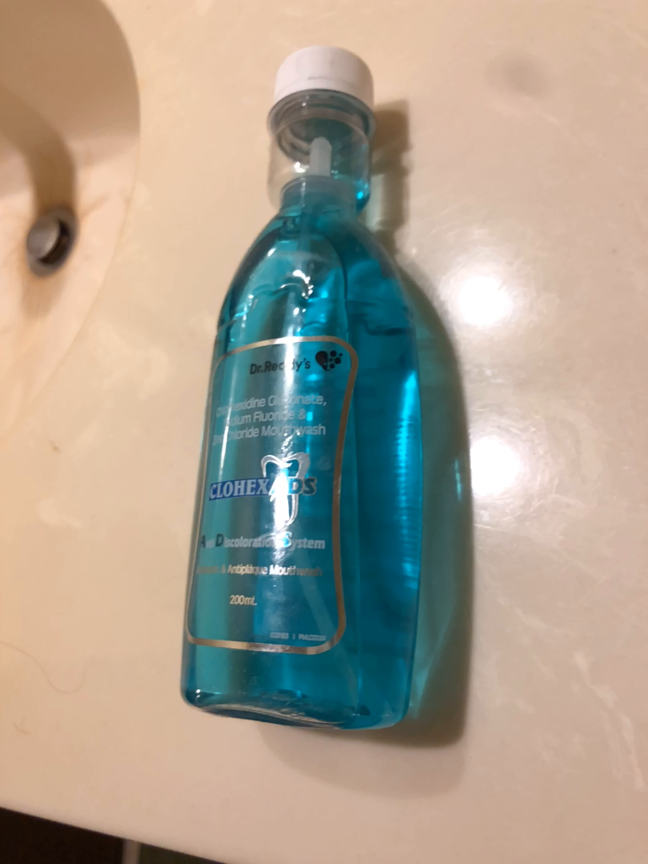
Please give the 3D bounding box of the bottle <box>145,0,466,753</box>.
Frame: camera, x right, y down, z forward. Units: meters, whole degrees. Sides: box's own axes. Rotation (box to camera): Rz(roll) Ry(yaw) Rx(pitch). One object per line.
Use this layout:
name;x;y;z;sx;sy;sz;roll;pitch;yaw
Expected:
bottle;0.000;-0.029;0.209;0.070;0.040;0.210;-5;75;29
